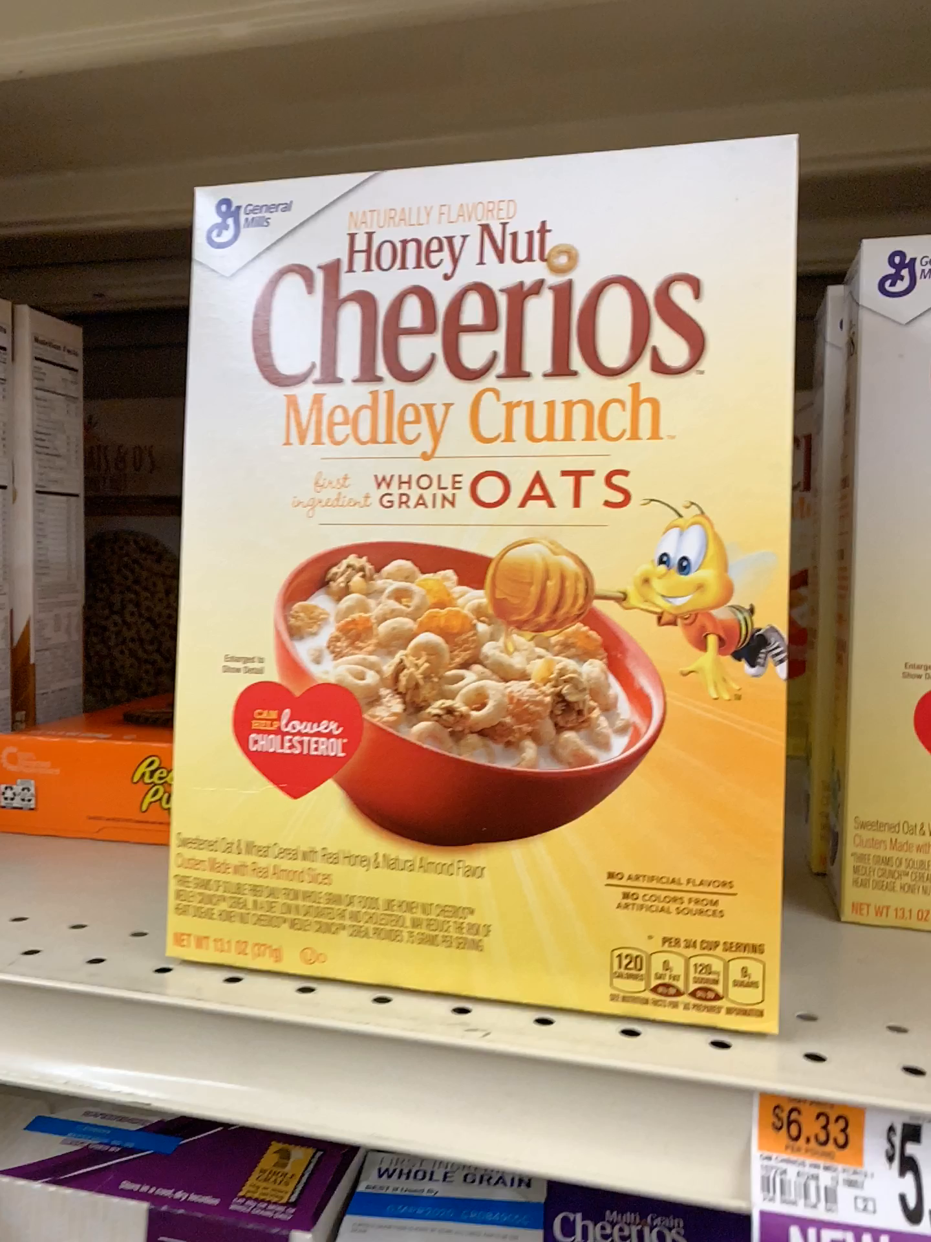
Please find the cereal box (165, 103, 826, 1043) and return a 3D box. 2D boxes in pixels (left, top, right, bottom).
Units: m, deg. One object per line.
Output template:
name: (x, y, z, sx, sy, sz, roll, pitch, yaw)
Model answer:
cereal box: (0.009, -0.016, 0.308, 0.190, 0.250, 0.060, 1, -2, 14)
